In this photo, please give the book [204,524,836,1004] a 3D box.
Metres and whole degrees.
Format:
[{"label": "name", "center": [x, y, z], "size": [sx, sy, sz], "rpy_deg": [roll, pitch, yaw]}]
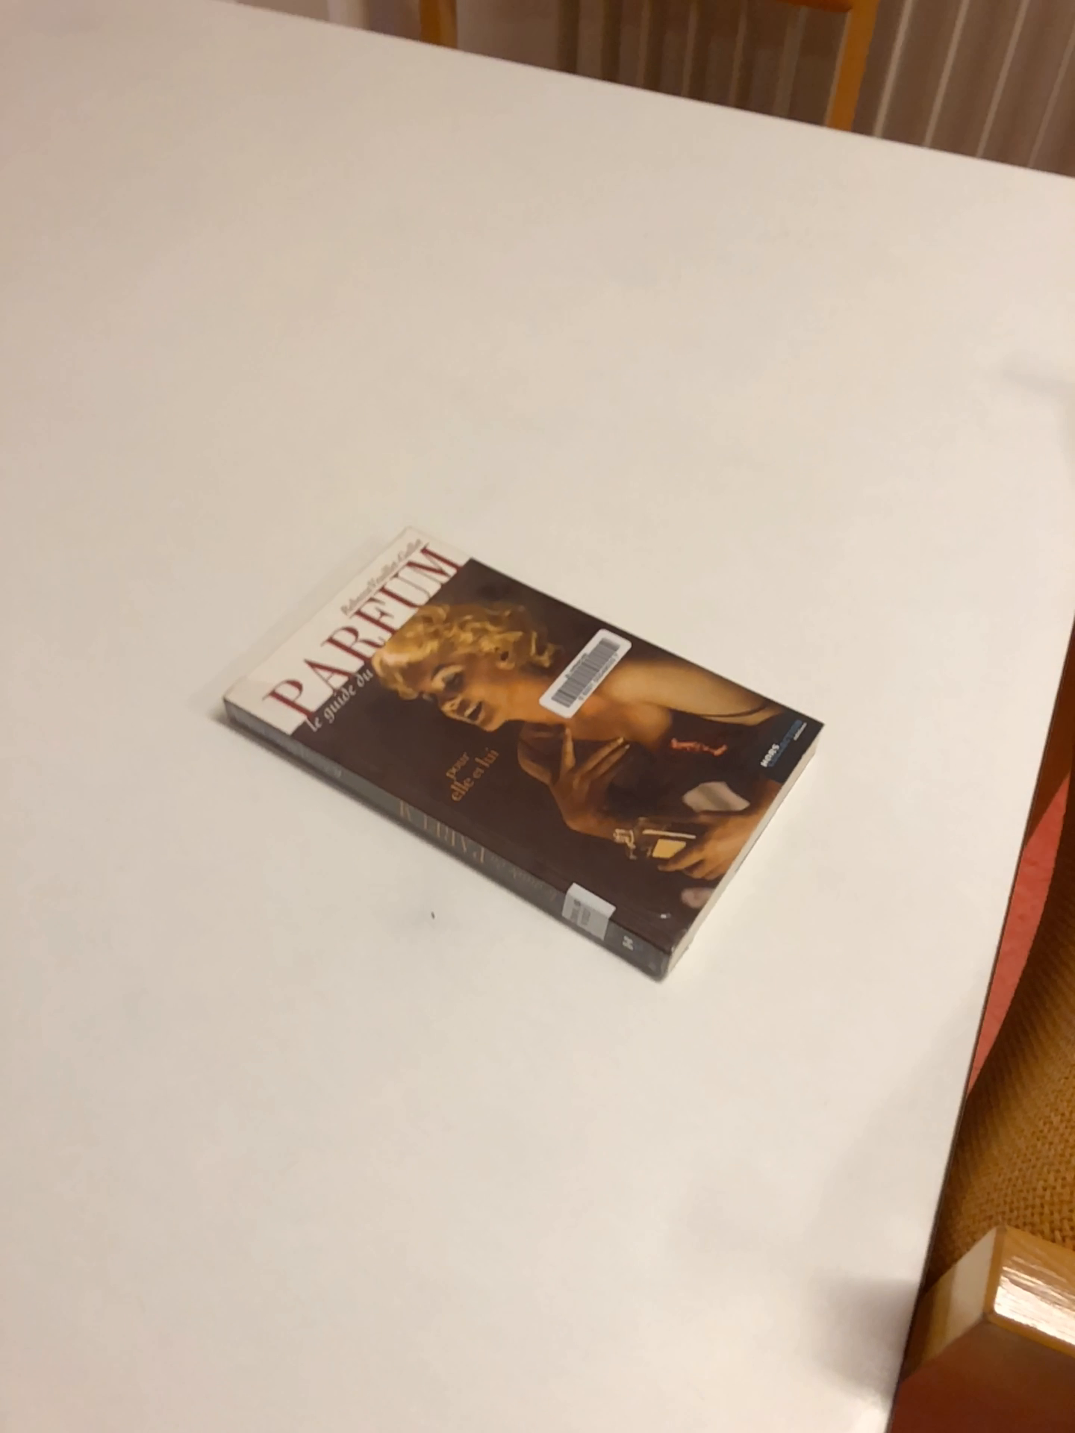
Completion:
[{"label": "book", "center": [-0.007, 0.006, 0.473], "size": [0.210, 0.020, 0.134], "rpy_deg": [26, 55, 19]}]
